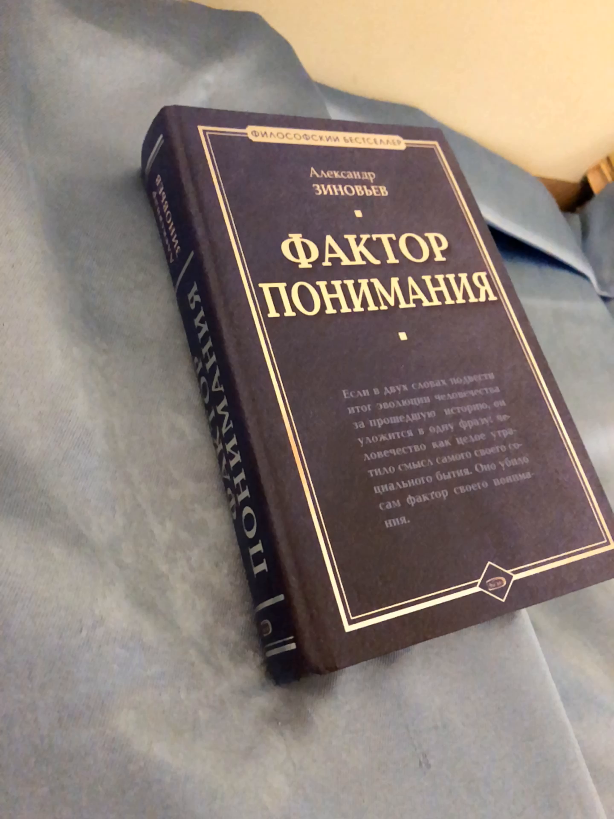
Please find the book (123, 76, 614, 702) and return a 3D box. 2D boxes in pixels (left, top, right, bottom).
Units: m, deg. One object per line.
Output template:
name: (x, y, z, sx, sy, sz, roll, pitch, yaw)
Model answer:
book: (0.024, -0.026, 0.261, 0.141, 0.040, 0.220, -8, 67, -25)
